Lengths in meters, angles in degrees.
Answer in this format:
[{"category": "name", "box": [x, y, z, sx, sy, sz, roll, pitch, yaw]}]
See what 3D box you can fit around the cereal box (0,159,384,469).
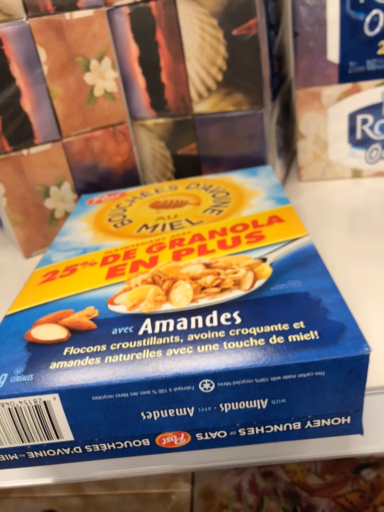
[{"category": "cereal box", "box": [-0.017, 0.006, 0.315, 0.210, 0.050, 0.271, -7, 28, 4]}]
